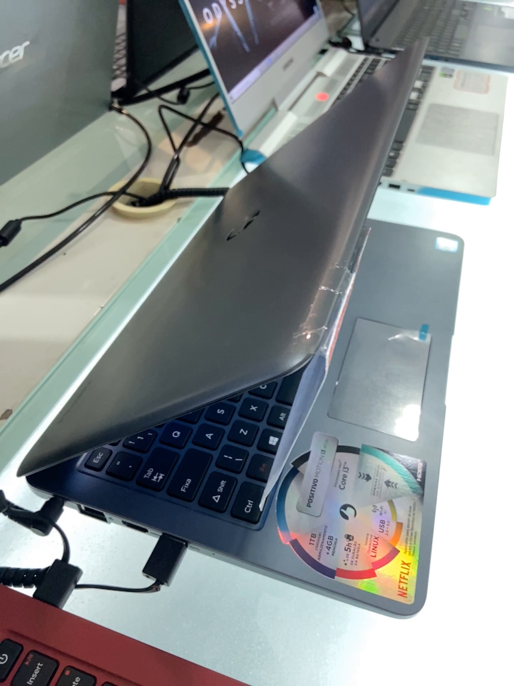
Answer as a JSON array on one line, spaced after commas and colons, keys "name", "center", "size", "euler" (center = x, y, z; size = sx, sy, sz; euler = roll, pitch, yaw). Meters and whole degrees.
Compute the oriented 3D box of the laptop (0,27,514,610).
[{"name": "laptop", "center": [0.027, -0.059, 0.325], "size": [0.210, 0.145, 0.318], "euler": [14, 46, 12]}]
